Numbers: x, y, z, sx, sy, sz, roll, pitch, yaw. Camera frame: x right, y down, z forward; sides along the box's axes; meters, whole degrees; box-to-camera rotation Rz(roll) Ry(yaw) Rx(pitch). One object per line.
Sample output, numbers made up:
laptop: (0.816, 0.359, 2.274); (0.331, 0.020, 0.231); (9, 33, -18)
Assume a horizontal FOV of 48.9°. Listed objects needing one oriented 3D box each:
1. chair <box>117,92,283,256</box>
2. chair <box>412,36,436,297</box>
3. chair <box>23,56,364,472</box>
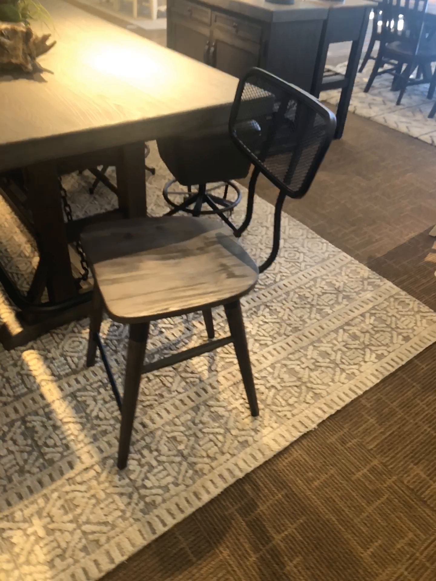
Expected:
chair: (-0.116, -0.600, 2.341); (0.520, 0.488, 0.637); (-17, 43, -25)
chair: (1.228, -0.525, 2.042); (0.489, 0.866, 0.557); (12, 39, 9)
chair: (-0.108, -0.071, 1.347); (0.604, 0.947, 0.509); (-13, 42, -21)
